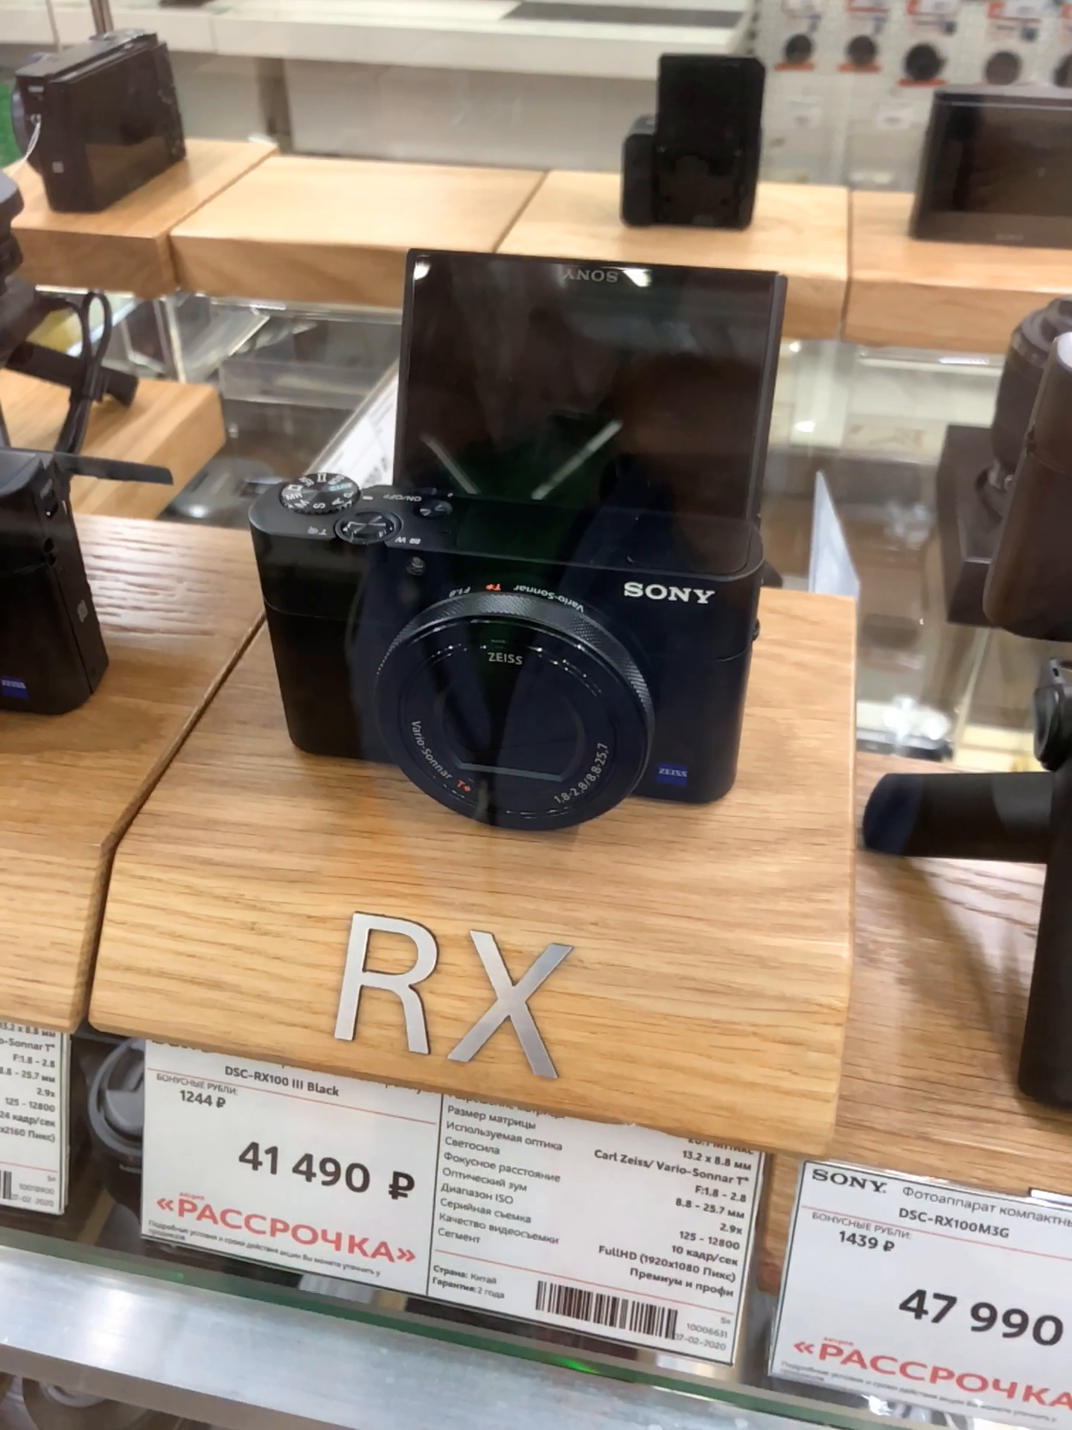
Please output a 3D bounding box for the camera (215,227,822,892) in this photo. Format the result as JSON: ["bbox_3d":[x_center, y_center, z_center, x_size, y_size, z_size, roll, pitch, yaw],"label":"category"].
[{"bbox_3d":[0.000,-0.030,0.251,0.100,0.119,0.050,8,40,9],"label":"camera"}]

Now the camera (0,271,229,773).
[{"bbox_3d":[-0.145,-0.050,0.281,0.101,0.067,0.097,8,40,9],"label":"camera"}]
